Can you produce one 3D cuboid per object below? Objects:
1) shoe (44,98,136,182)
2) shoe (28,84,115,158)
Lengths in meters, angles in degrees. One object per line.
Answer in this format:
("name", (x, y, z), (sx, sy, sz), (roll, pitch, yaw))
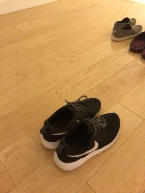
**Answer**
("shoe", (0.061, 0.124, 0.502), (0.271, 0.070, 0.120), (-28, 52, -25))
("shoe", (0.003, 0.070, 0.551), (0.271, 0.070, 0.130), (-28, 52, -25))
